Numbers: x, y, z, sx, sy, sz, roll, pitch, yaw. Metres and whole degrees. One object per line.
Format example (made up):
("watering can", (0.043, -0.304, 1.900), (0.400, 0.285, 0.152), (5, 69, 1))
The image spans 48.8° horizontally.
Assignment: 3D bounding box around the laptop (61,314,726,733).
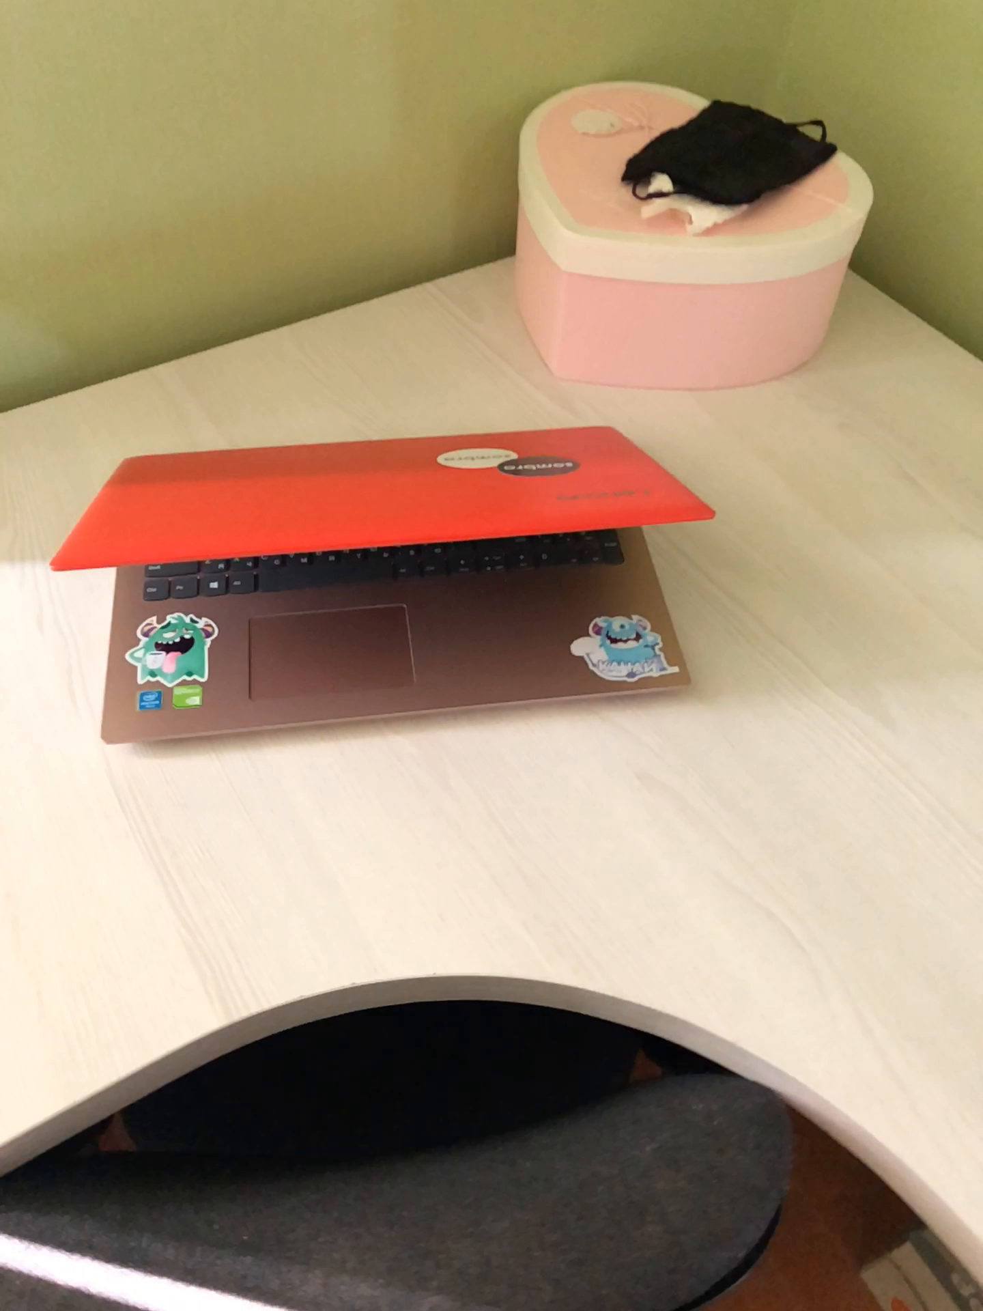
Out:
("laptop", (-0.067, -0.096, 0.709), (0.366, 0.112, 0.233), (-5, 52, -7))
